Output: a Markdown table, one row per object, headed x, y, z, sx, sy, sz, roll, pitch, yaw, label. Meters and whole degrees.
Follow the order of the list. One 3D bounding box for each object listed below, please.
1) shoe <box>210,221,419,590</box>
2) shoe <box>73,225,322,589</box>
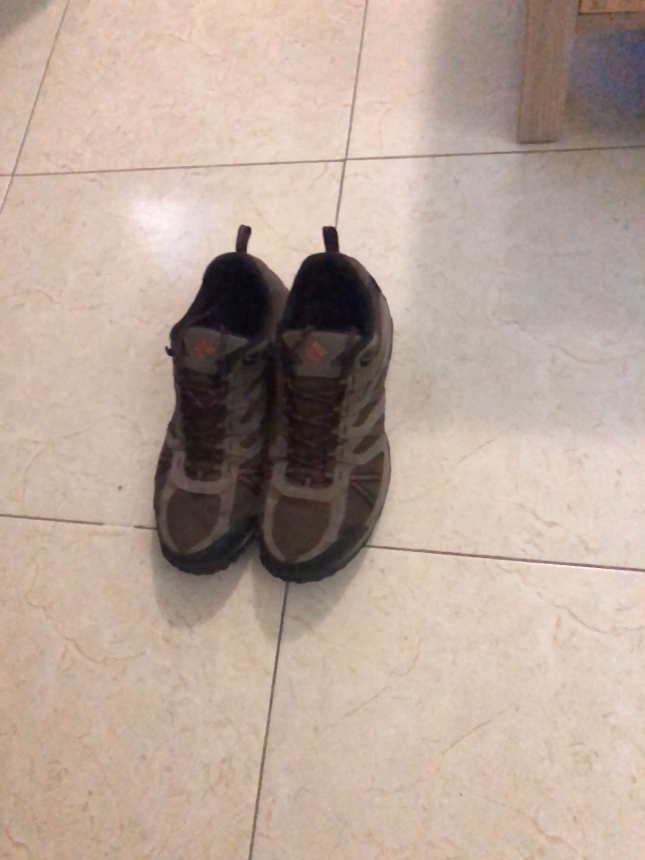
| x | y | z | sx | sy | sz | roll | pitch | yaw | label |
| --- | --- | --- | --- | --- | --- | --- | --- | --- | --- |
| 0.006 | -0.026 | 0.658 | 0.120 | 0.120 | 0.310 | 5 | 70 | 14 | shoe |
| -0.102 | -0.026 | 0.667 | 0.130 | 0.110 | 0.310 | 6 | 71 | 15 | shoe |
